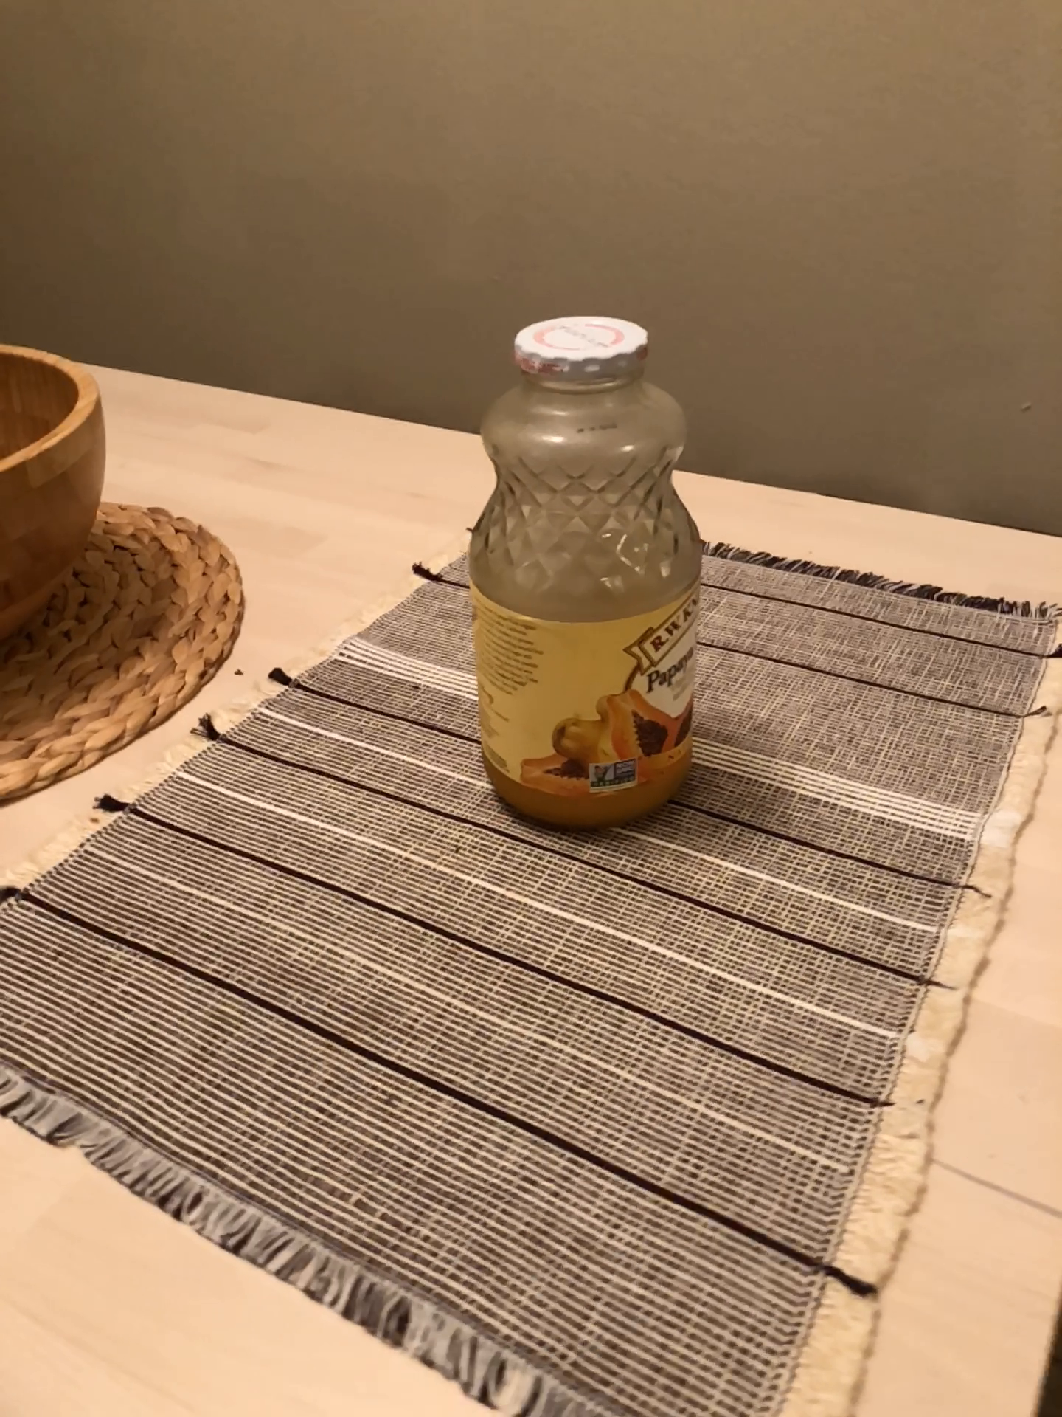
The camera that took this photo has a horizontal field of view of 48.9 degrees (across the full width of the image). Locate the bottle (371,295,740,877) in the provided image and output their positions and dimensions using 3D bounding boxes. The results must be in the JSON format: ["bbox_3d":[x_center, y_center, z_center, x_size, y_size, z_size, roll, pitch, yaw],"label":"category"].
[{"bbox_3d":[0.015,-0.051,0.481,0.100,0.199,0.101,-2,33,1],"label":"bottle"}]
